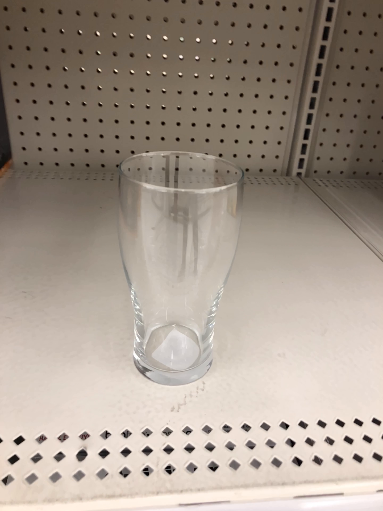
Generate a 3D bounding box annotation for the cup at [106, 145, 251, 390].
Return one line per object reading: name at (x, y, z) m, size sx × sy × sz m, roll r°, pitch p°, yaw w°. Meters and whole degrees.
cup at (-0.008, 0.007, 0.289) m, size 0.076 × 0.138 × 0.081 m, roll 3°, pitch 28°, yaw -1°
